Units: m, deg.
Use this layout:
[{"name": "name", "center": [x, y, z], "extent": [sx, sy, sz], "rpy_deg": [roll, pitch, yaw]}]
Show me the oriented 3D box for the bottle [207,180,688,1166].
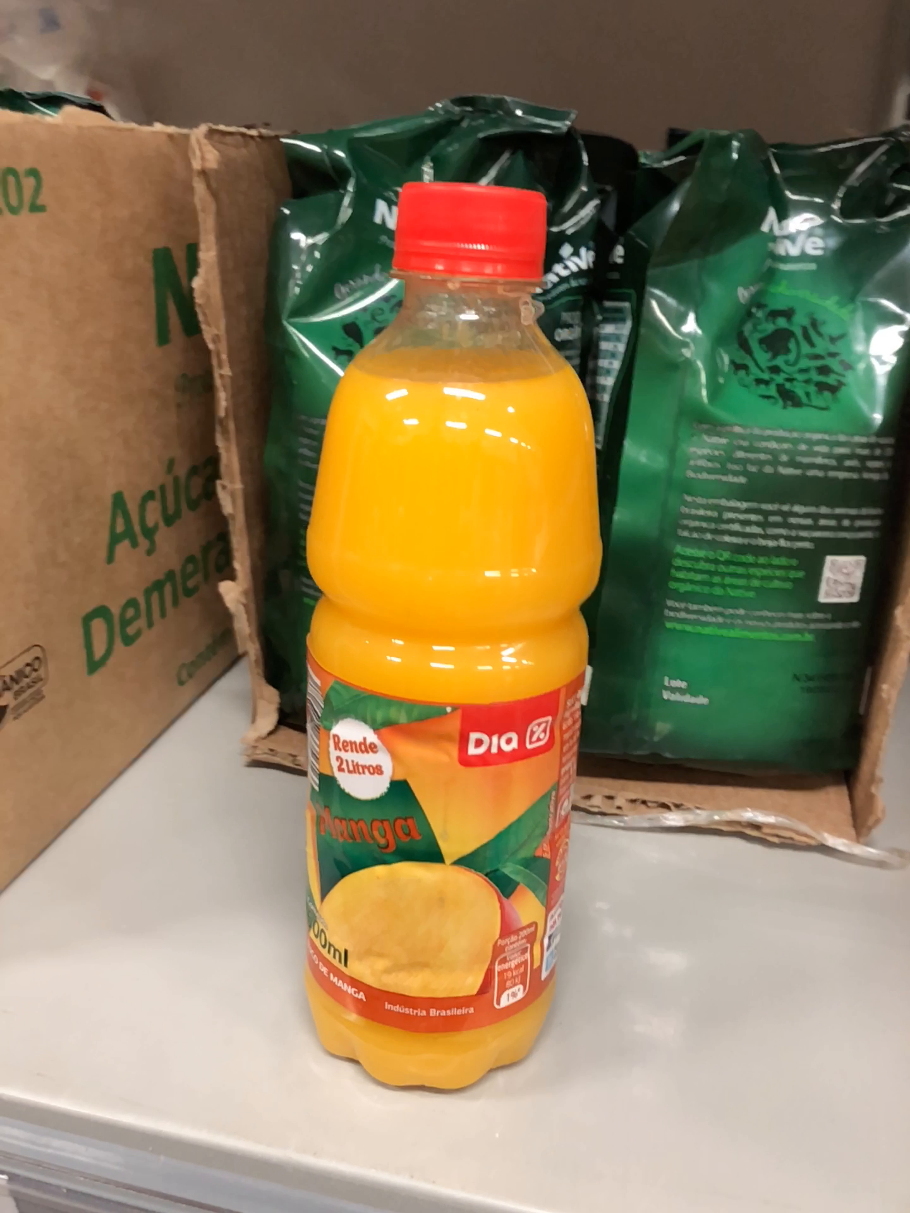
[{"name": "bottle", "center": [-0.003, 0.013, 0.229], "extent": [0.070, 0.199, 0.060], "rpy_deg": [16, 25, 33]}]
